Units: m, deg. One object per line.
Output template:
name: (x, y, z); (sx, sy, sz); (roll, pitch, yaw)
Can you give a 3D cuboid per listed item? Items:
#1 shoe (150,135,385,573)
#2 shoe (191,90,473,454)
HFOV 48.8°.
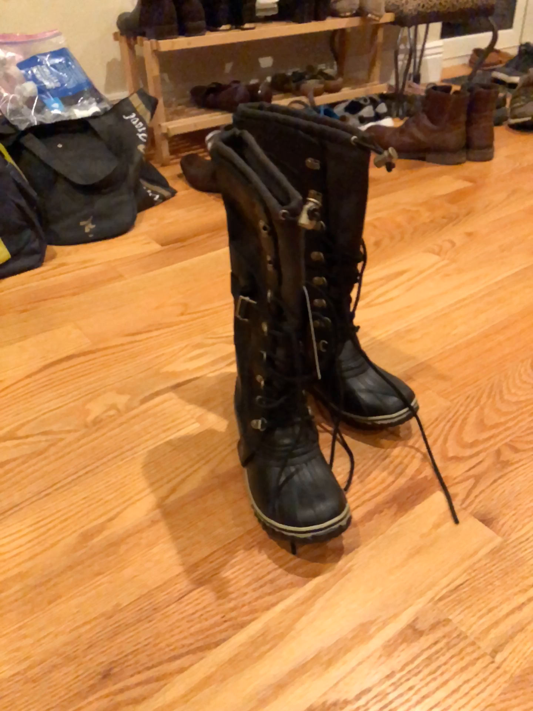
shoe: (-0.012, -0.012, 0.554); (0.100, 0.308, 0.261); (-14, 36, -16)
shoe: (0.057, -0.096, 0.656); (0.261, 0.328, 0.100); (26, 43, 34)
